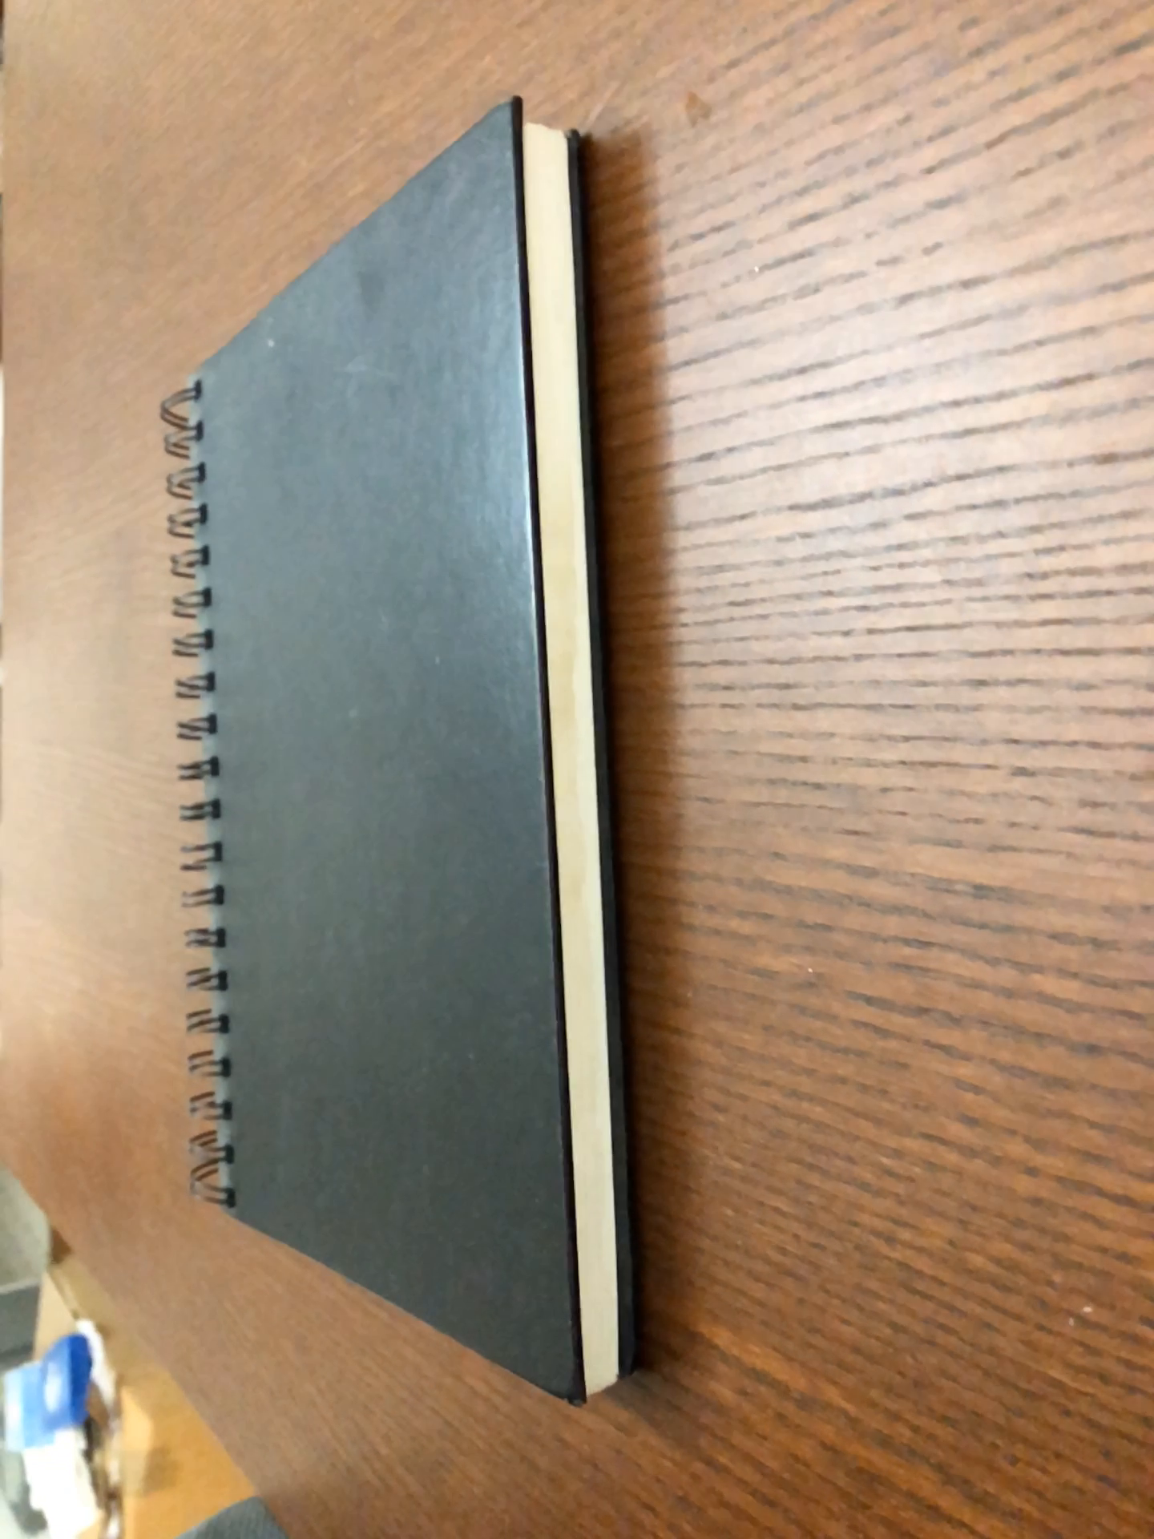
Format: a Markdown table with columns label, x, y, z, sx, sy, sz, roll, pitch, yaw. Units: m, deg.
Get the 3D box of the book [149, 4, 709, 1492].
| label | x | y | z | sx | sy | sz | roll | pitch | yaw |
| --- | --- | --- | --- | --- | --- | --- | --- | --- | --- |
| book | -0.054 | -0.001 | 0.314 | 0.201 | 0.030 | 0.260 | -8 | 84 | 54 |
